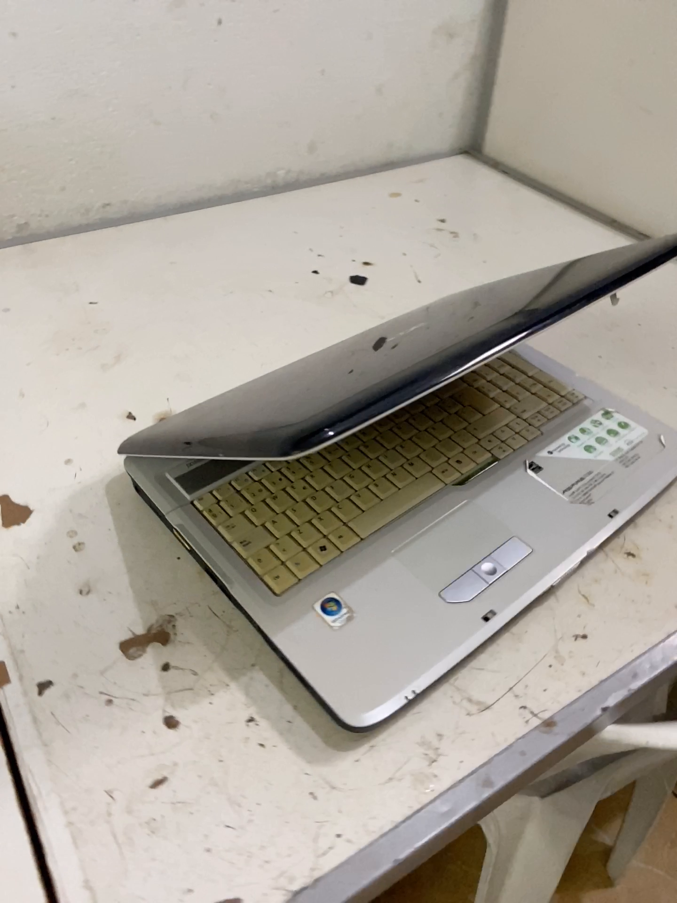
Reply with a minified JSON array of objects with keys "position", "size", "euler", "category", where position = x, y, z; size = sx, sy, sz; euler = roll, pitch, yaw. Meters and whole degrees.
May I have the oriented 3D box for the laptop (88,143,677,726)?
[{"position":[0.071,-0.063,0.510],"size":[0.381,0.164,0.278],"euler":[-28,50,-29],"category":"laptop"}]
